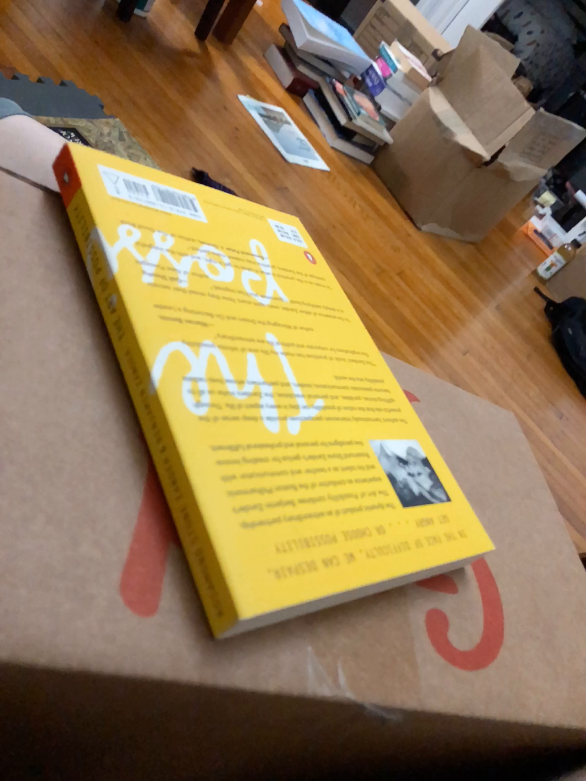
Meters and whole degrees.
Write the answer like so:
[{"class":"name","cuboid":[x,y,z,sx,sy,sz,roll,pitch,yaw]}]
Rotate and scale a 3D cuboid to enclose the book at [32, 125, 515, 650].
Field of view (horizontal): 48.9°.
[{"class":"book","cuboid":[-0.009,-0.016,0.272,0.151,0.020,0.210,3,51,-44]}]
